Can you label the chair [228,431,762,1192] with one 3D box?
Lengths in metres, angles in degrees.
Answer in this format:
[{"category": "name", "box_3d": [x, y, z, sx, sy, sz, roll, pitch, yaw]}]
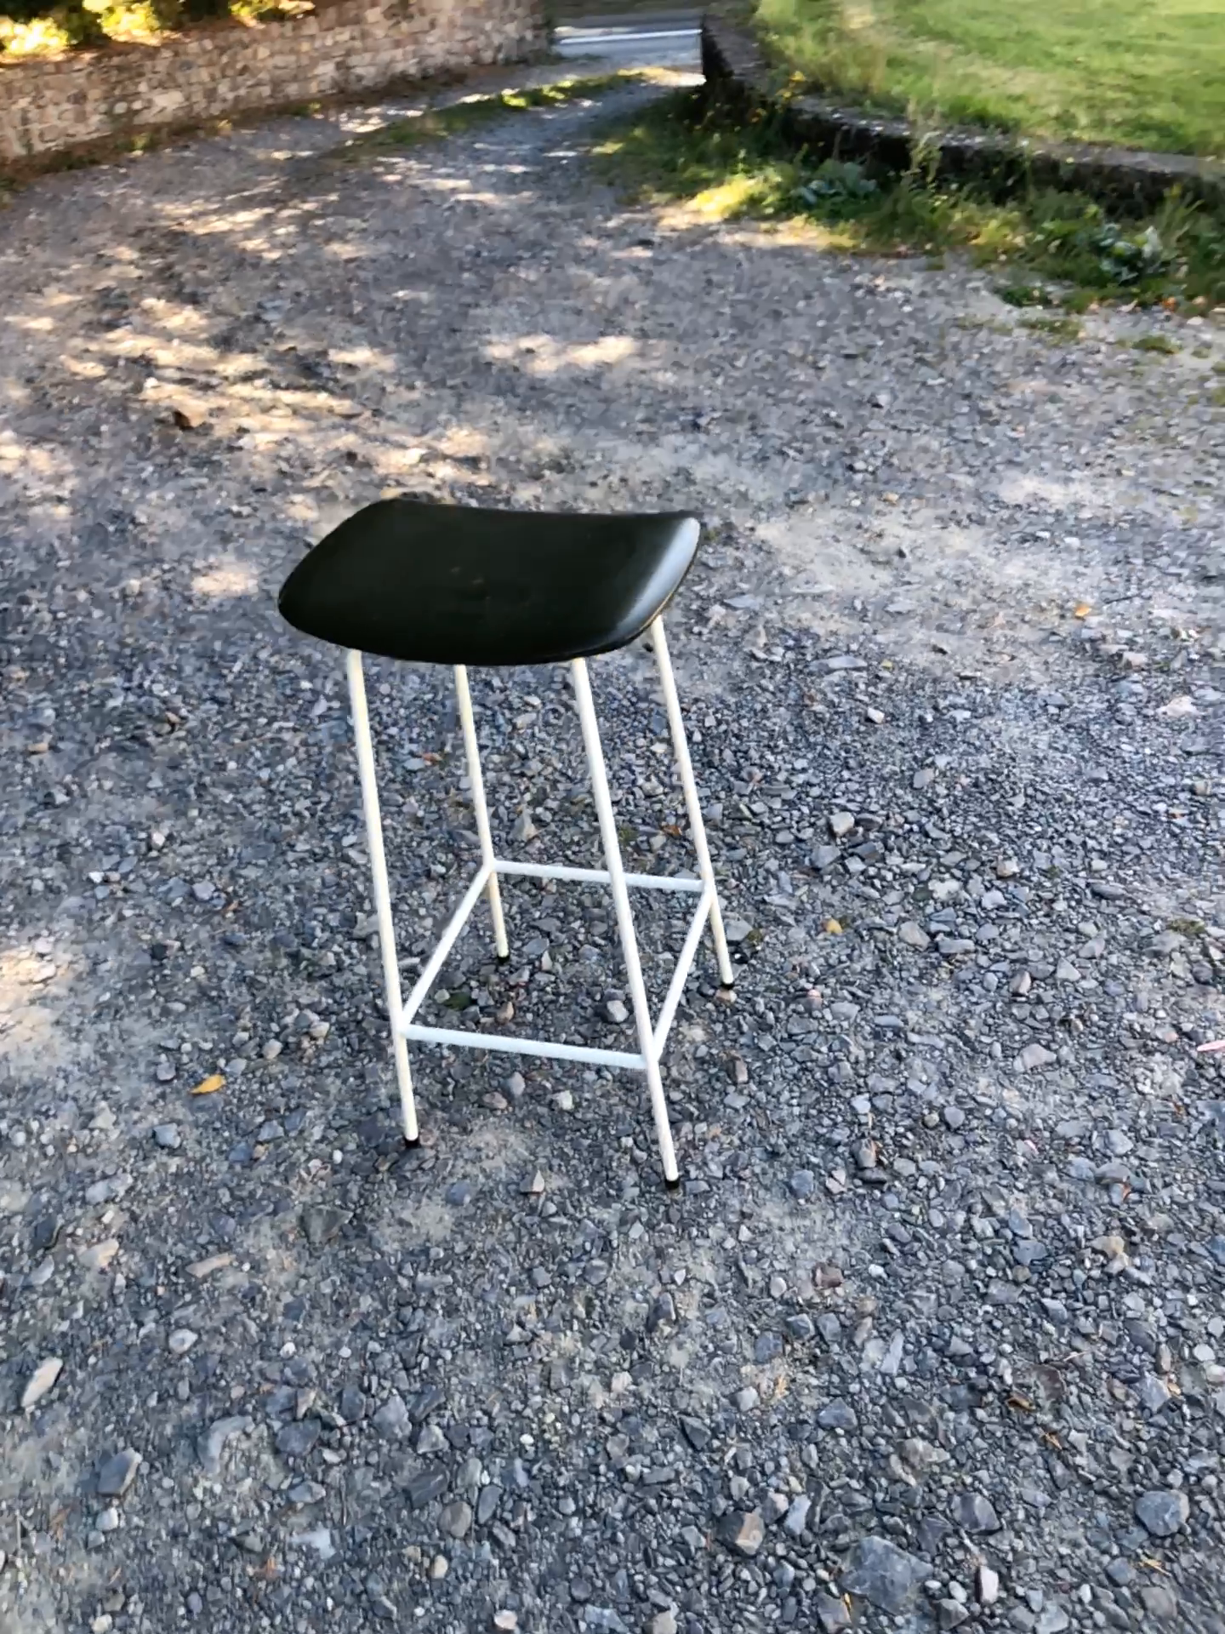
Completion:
[{"category": "chair", "box_3d": [-0.067, -0.001, 1.372, 0.370, 0.646, 0.372, 7, 39, 13]}]
